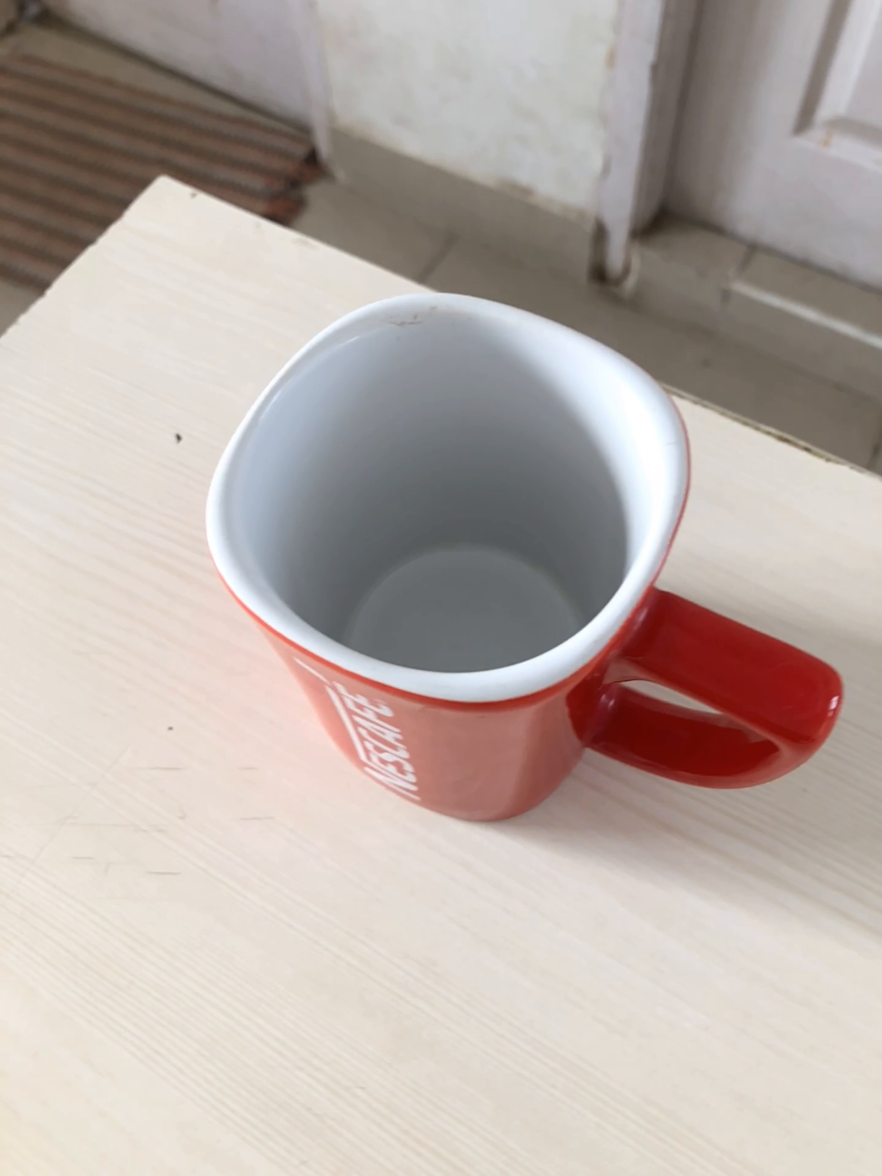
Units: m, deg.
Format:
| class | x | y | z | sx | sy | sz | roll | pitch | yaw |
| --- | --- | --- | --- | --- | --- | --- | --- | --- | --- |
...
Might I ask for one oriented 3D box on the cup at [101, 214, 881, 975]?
| class | x | y | z | sx | sy | sz | roll | pitch | yaw |
| --- | --- | --- | --- | --- | --- | --- | --- | --- | --- |
| cup | 0.018 | 0.005 | 0.192 | 0.110 | 0.090 | 0.080 | 24 | 67 | 15 |
